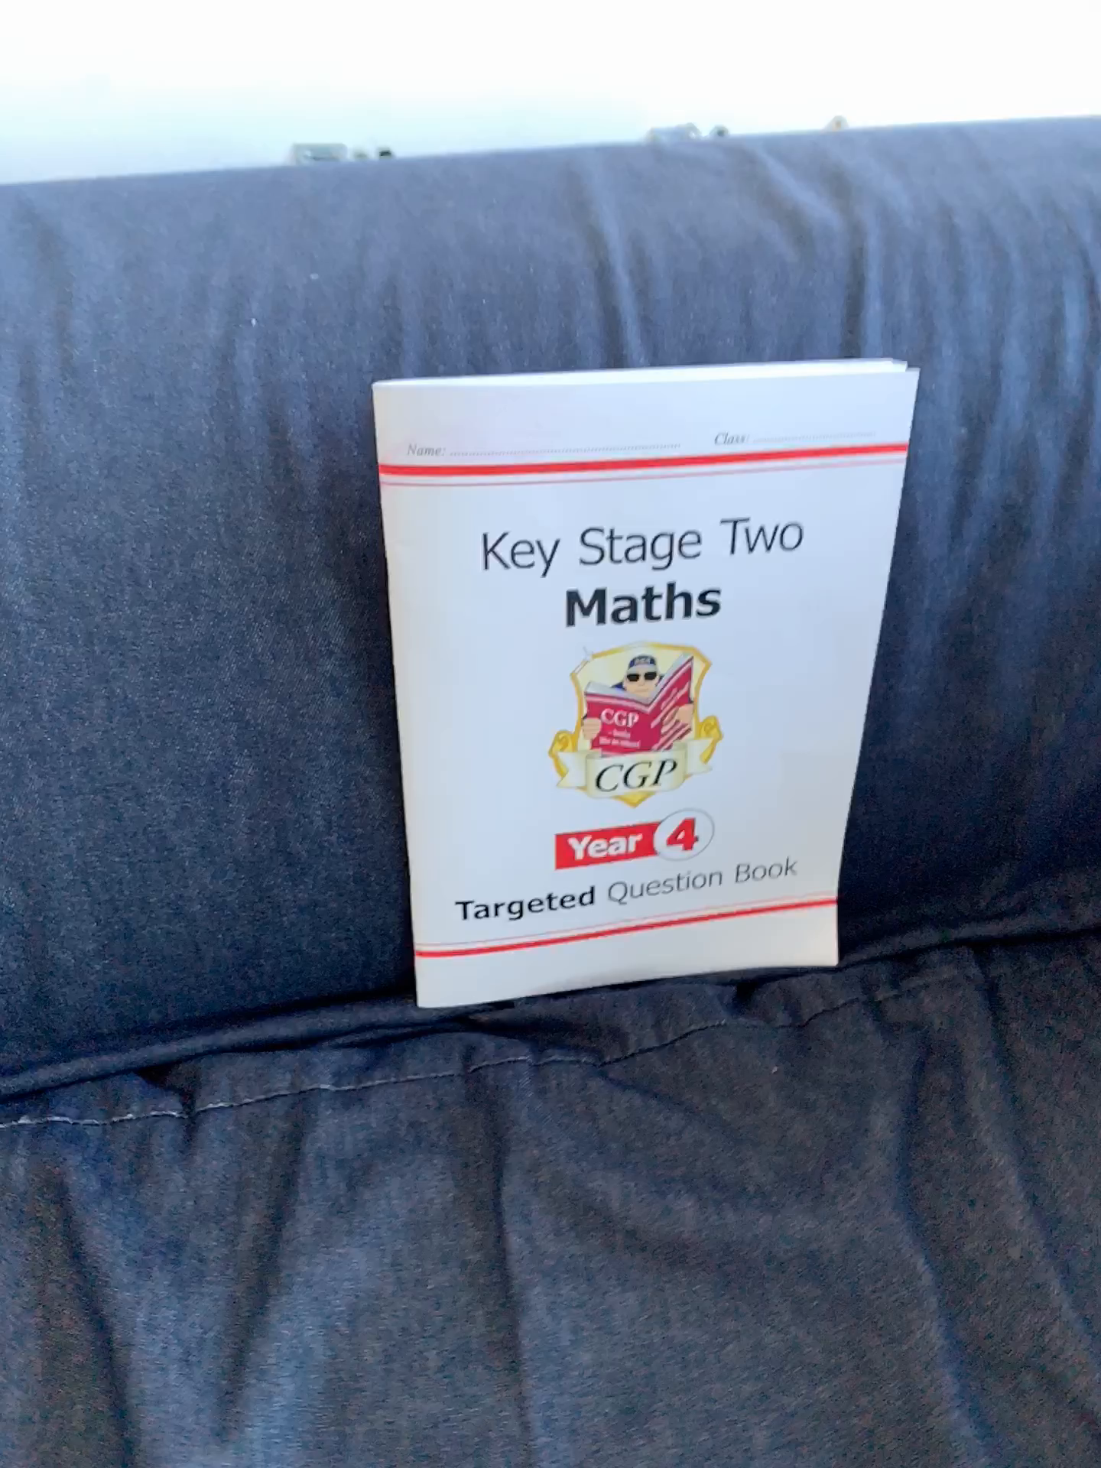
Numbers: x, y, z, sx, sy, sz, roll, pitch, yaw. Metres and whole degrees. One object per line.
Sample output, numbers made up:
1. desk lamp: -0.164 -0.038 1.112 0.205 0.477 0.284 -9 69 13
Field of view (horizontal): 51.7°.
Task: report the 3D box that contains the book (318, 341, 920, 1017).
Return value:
1. book: 0.032 -0.015 0.473 0.220 0.266 0.030 -6 22 -6
